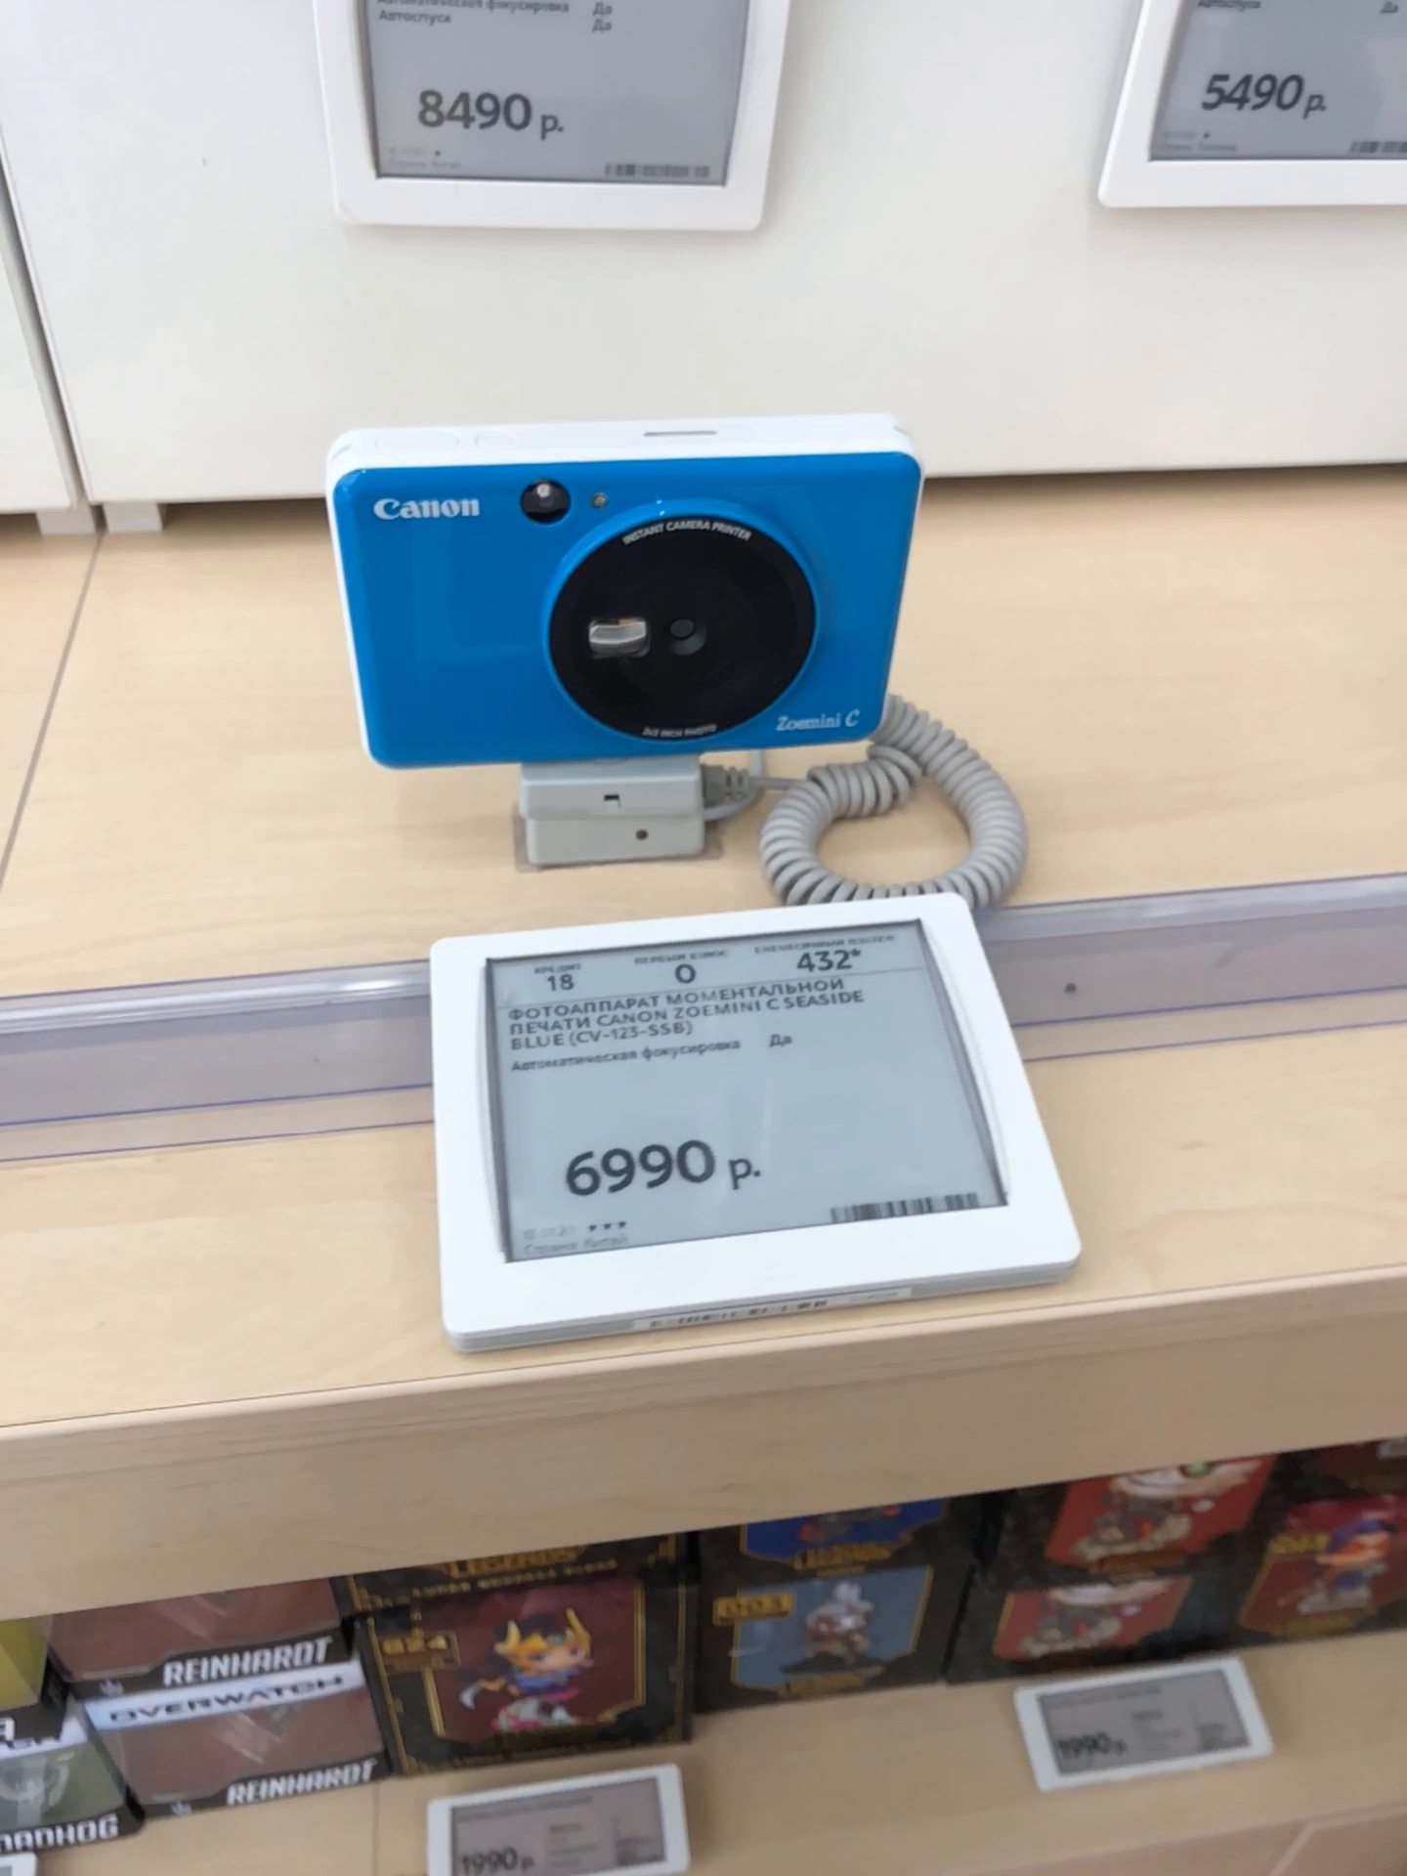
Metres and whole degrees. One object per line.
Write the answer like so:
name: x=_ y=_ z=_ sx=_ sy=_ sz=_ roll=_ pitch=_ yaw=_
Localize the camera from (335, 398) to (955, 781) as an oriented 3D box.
camera: x=-0.012 y=-0.073 z=0.333 sx=0.119 sy=0.072 sz=0.025 roll=-4 pitch=48 yaw=-6
